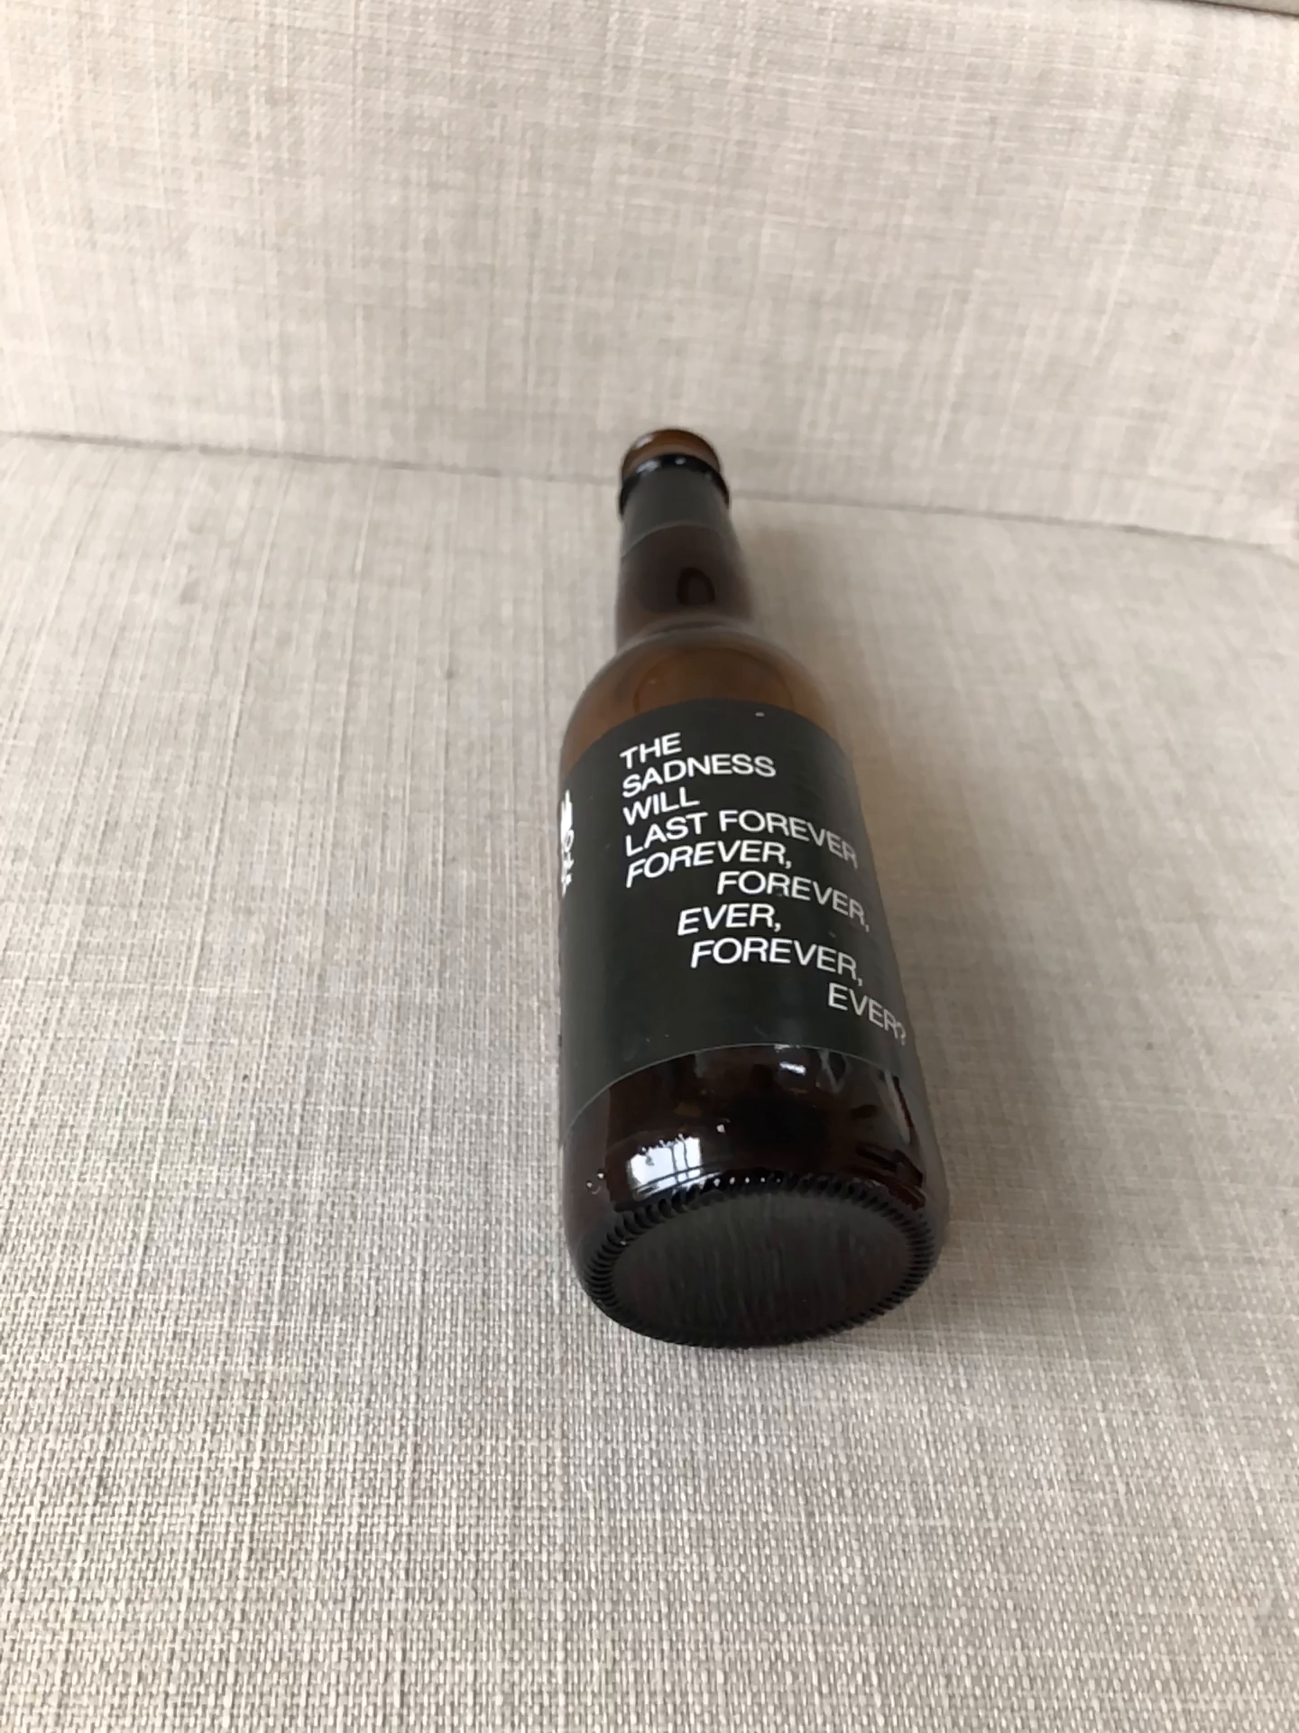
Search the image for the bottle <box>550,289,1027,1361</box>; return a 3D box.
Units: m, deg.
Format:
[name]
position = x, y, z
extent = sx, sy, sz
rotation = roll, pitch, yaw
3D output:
[bottle]
position = 0.013, -0.028, 0.298
extent = 0.060, 0.059, 0.240
rotation = 4, 48, -8
